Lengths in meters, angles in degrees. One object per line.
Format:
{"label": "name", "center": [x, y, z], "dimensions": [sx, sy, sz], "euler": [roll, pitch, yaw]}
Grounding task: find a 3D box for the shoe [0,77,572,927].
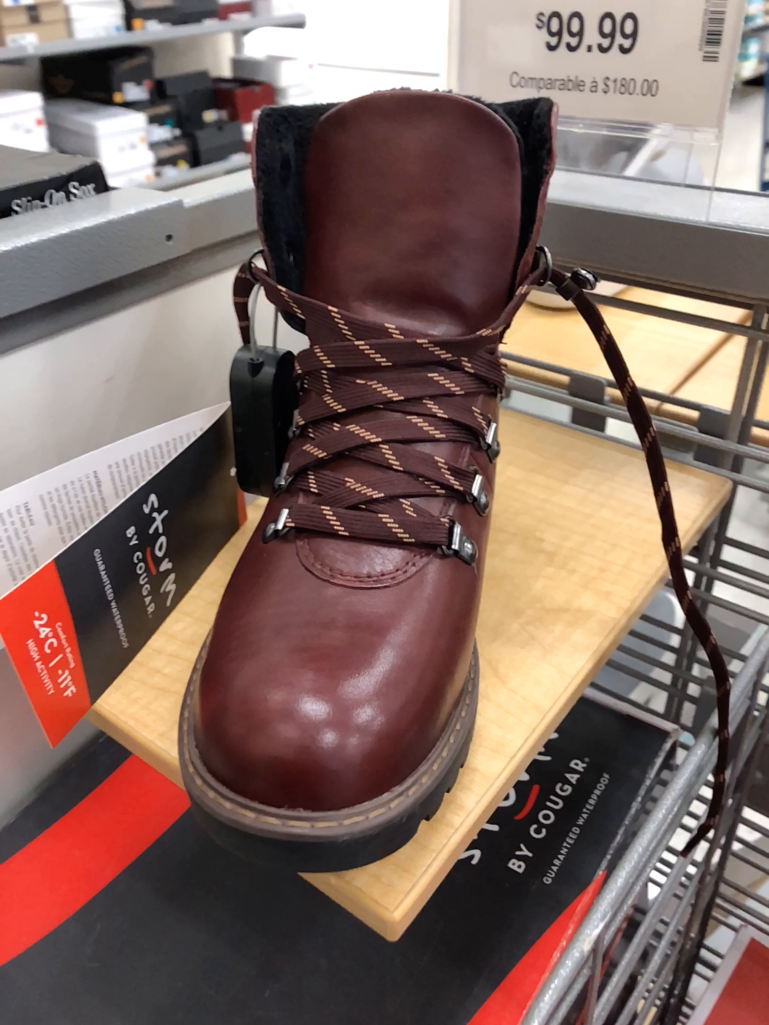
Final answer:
{"label": "shoe", "center": [-0.005, -0.031, 0.278], "dimensions": [0.107, 0.169, 0.232], "euler": [6, 35, 10]}
